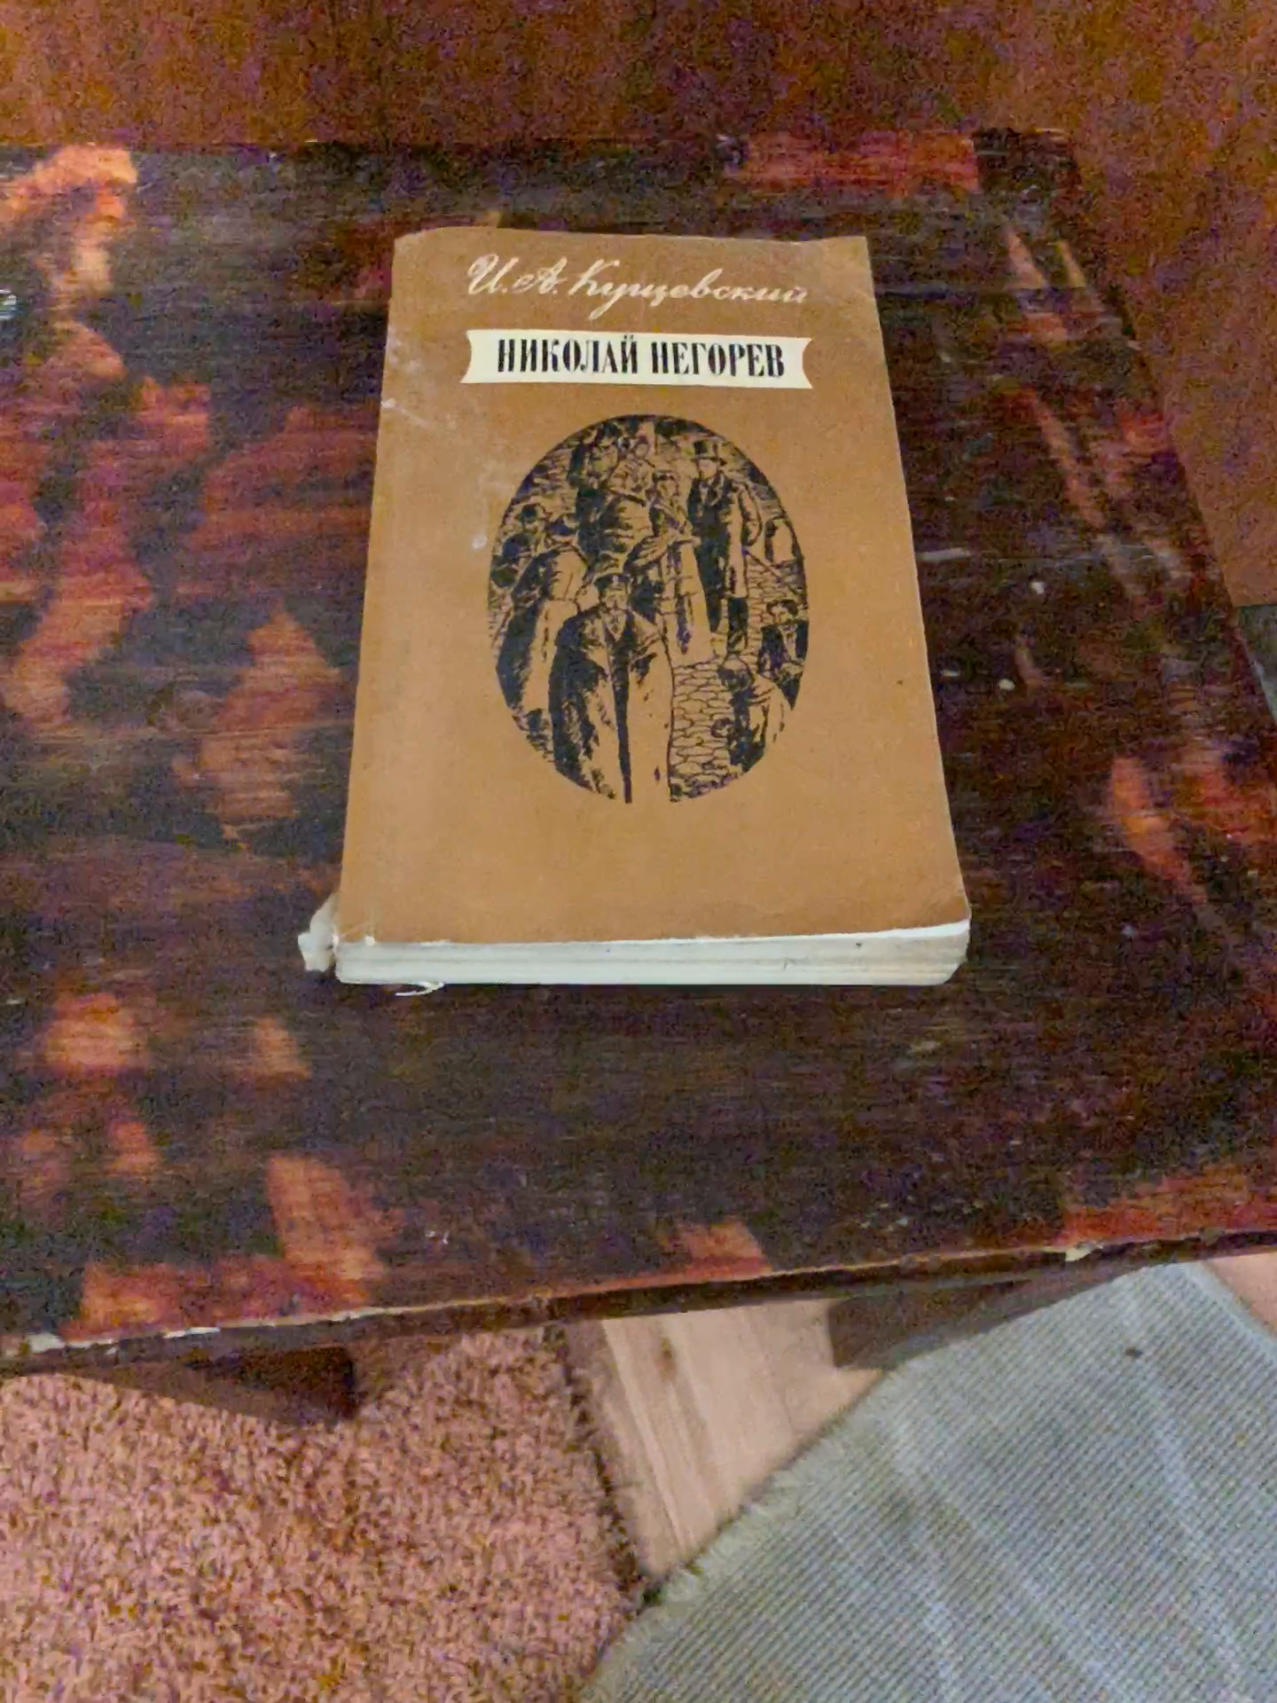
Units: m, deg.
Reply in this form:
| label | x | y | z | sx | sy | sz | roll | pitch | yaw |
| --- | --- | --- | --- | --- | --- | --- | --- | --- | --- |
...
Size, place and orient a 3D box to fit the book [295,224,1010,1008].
| label | x | y | z | sx | sy | sz | roll | pitch | yaw |
| --- | --- | --- | --- | --- | --- | --- | --- | --- | --- |
| book | 0.000 | -0.062 | 0.292 | 0.130 | 0.024 | 0.191 | -1 | 64 | -2 |
